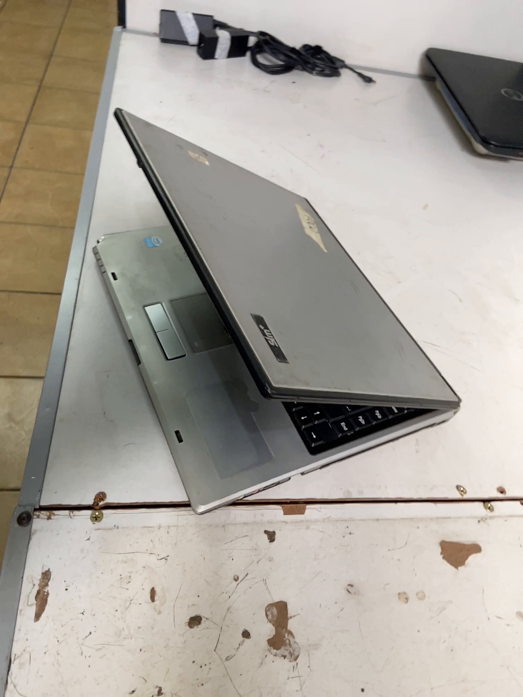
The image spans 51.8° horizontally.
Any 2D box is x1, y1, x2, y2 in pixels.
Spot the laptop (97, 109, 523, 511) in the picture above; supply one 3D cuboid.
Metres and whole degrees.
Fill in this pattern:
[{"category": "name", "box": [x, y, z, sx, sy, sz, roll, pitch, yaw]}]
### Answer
[{"category": "laptop", "box": [0.015, -0.069, 0.490, 0.254, 0.130, 0.318, -14, 54, -22]}]
